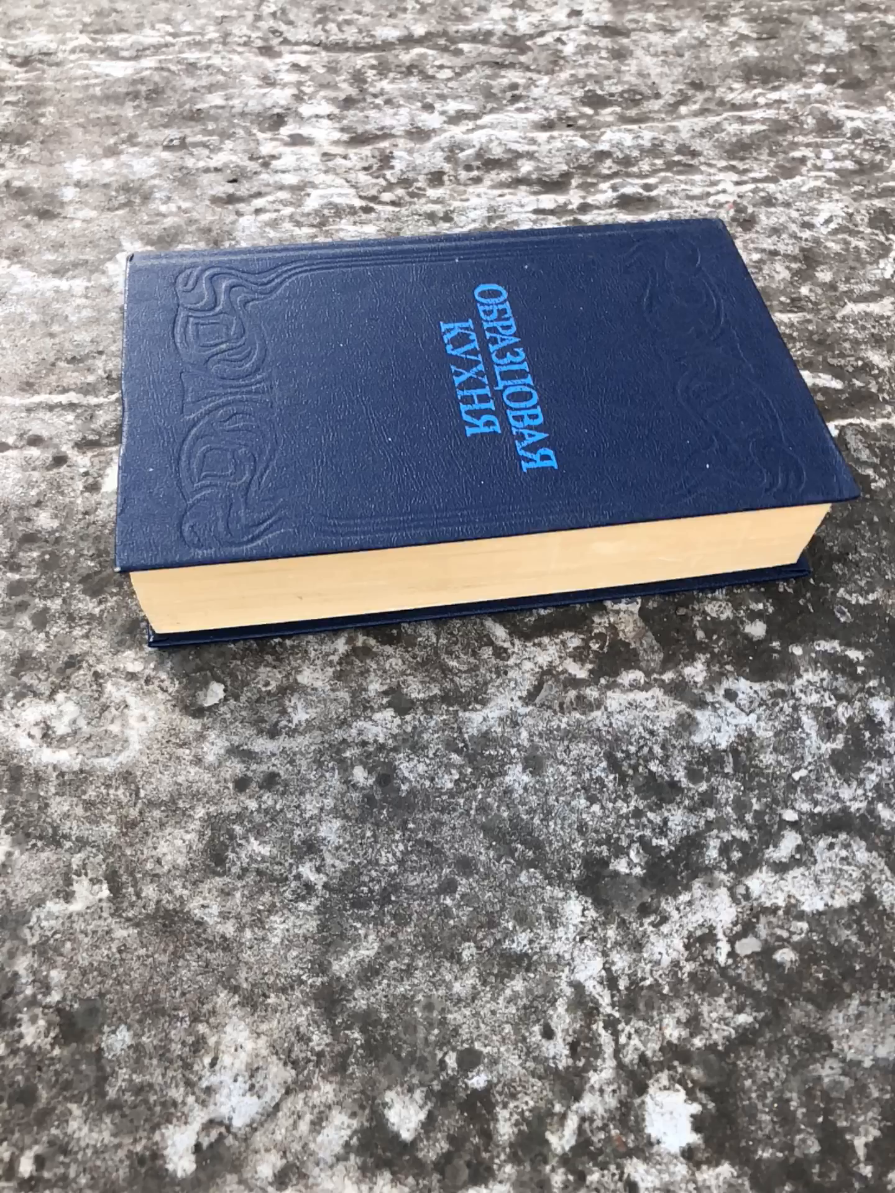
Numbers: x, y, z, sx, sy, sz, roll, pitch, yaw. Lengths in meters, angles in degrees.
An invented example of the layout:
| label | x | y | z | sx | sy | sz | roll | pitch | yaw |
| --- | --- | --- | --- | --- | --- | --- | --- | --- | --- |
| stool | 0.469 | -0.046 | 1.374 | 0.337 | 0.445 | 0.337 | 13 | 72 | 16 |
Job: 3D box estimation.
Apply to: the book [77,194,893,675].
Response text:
| label | x | y | z | sx | sy | sz | roll | pitch | yaw |
| --- | --- | --- | --- | --- | --- | --- | --- | --- | --- |
| book | 0.003 | -0.058 | 0.306 | 0.210 | 0.040 | 0.140 | -6 | 57 | -7 |
